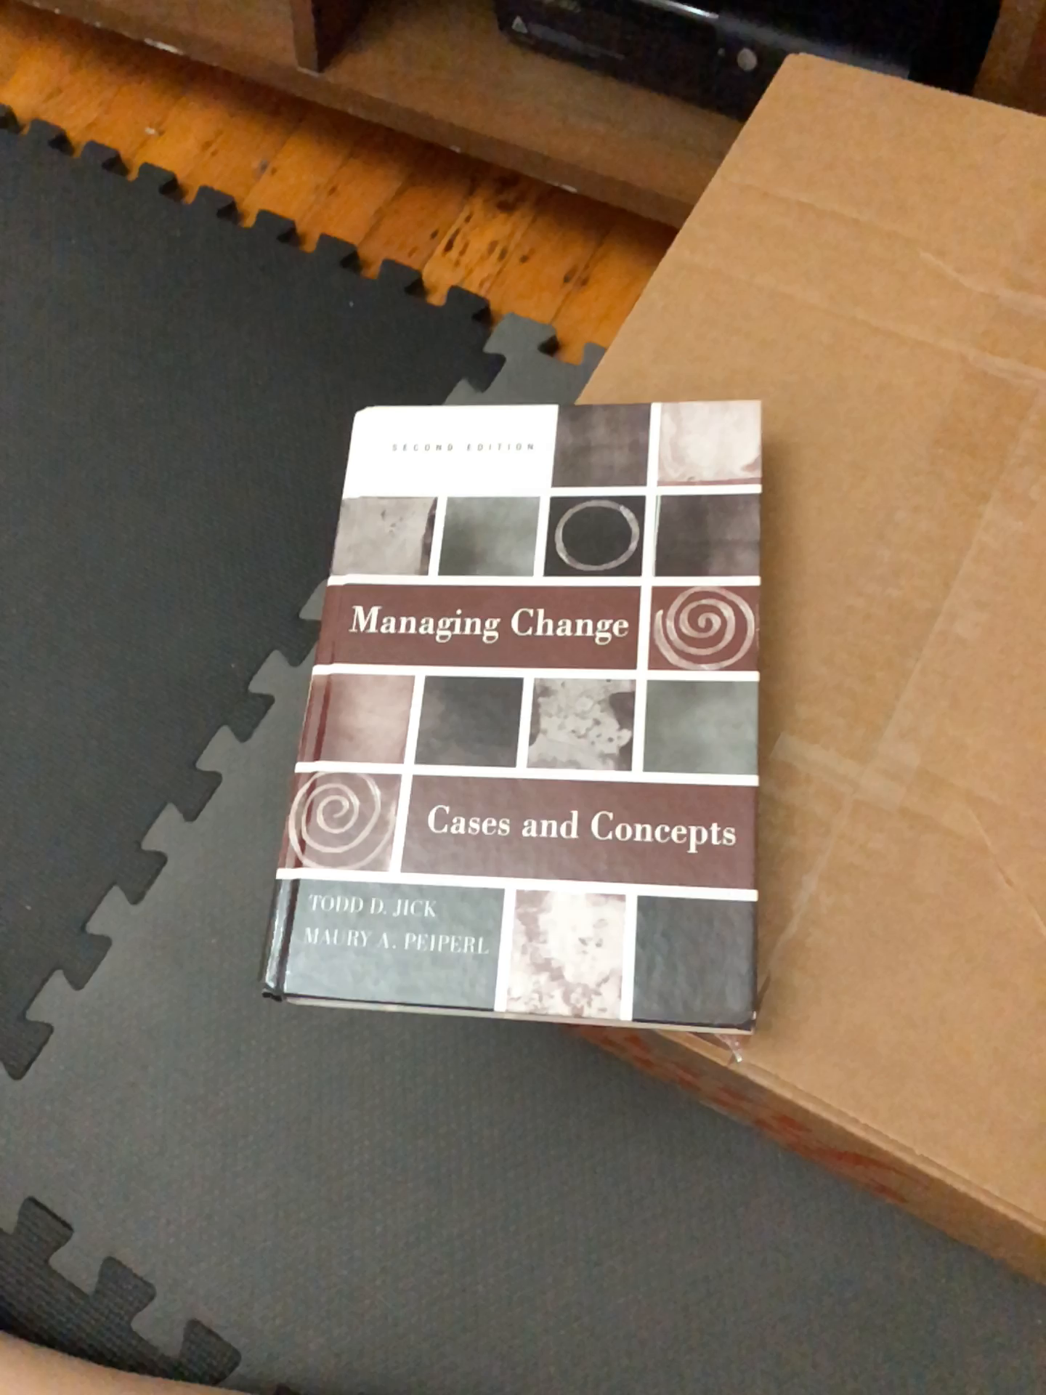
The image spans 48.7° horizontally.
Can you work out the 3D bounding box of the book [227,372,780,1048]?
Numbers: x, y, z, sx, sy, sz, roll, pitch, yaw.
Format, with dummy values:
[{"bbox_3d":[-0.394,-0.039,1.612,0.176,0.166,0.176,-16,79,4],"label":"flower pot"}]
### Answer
[{"bbox_3d":[0.002,-0.007,0.430,0.180,0.030,0.251,2,68,8],"label":"book"}]
